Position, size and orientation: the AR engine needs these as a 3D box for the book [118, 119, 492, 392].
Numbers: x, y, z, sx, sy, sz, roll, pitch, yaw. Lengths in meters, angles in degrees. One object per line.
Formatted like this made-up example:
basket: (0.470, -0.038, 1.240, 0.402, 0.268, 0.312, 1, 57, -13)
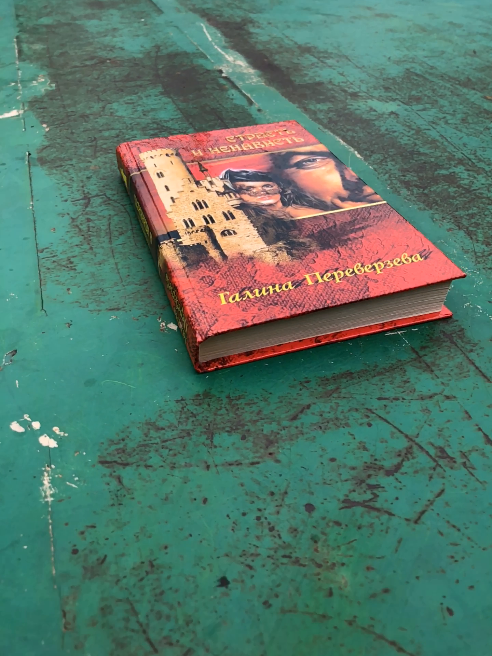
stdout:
book: (0.017, -0.064, 0.319, 0.144, 0.030, 0.211, -12, 43, -16)
